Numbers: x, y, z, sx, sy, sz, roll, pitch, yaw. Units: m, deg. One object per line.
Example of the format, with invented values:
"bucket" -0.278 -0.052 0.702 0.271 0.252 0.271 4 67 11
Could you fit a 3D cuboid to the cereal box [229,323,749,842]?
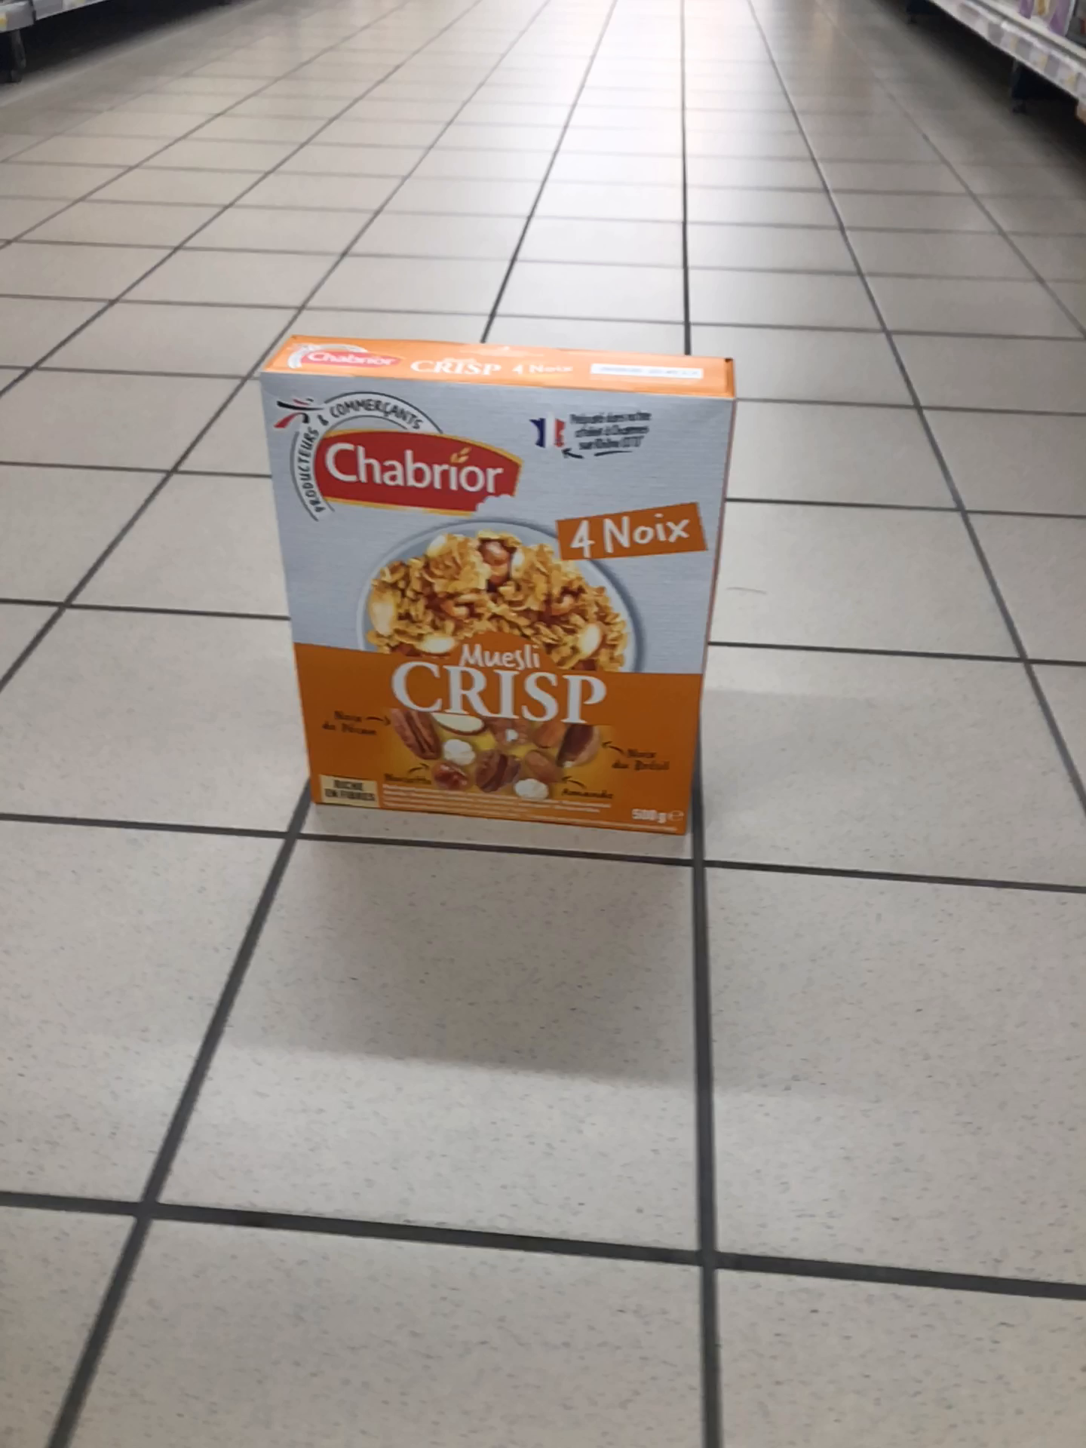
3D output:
"cereal box" -0.020 -0.058 0.543 0.200 0.219 0.060 4 36 5
